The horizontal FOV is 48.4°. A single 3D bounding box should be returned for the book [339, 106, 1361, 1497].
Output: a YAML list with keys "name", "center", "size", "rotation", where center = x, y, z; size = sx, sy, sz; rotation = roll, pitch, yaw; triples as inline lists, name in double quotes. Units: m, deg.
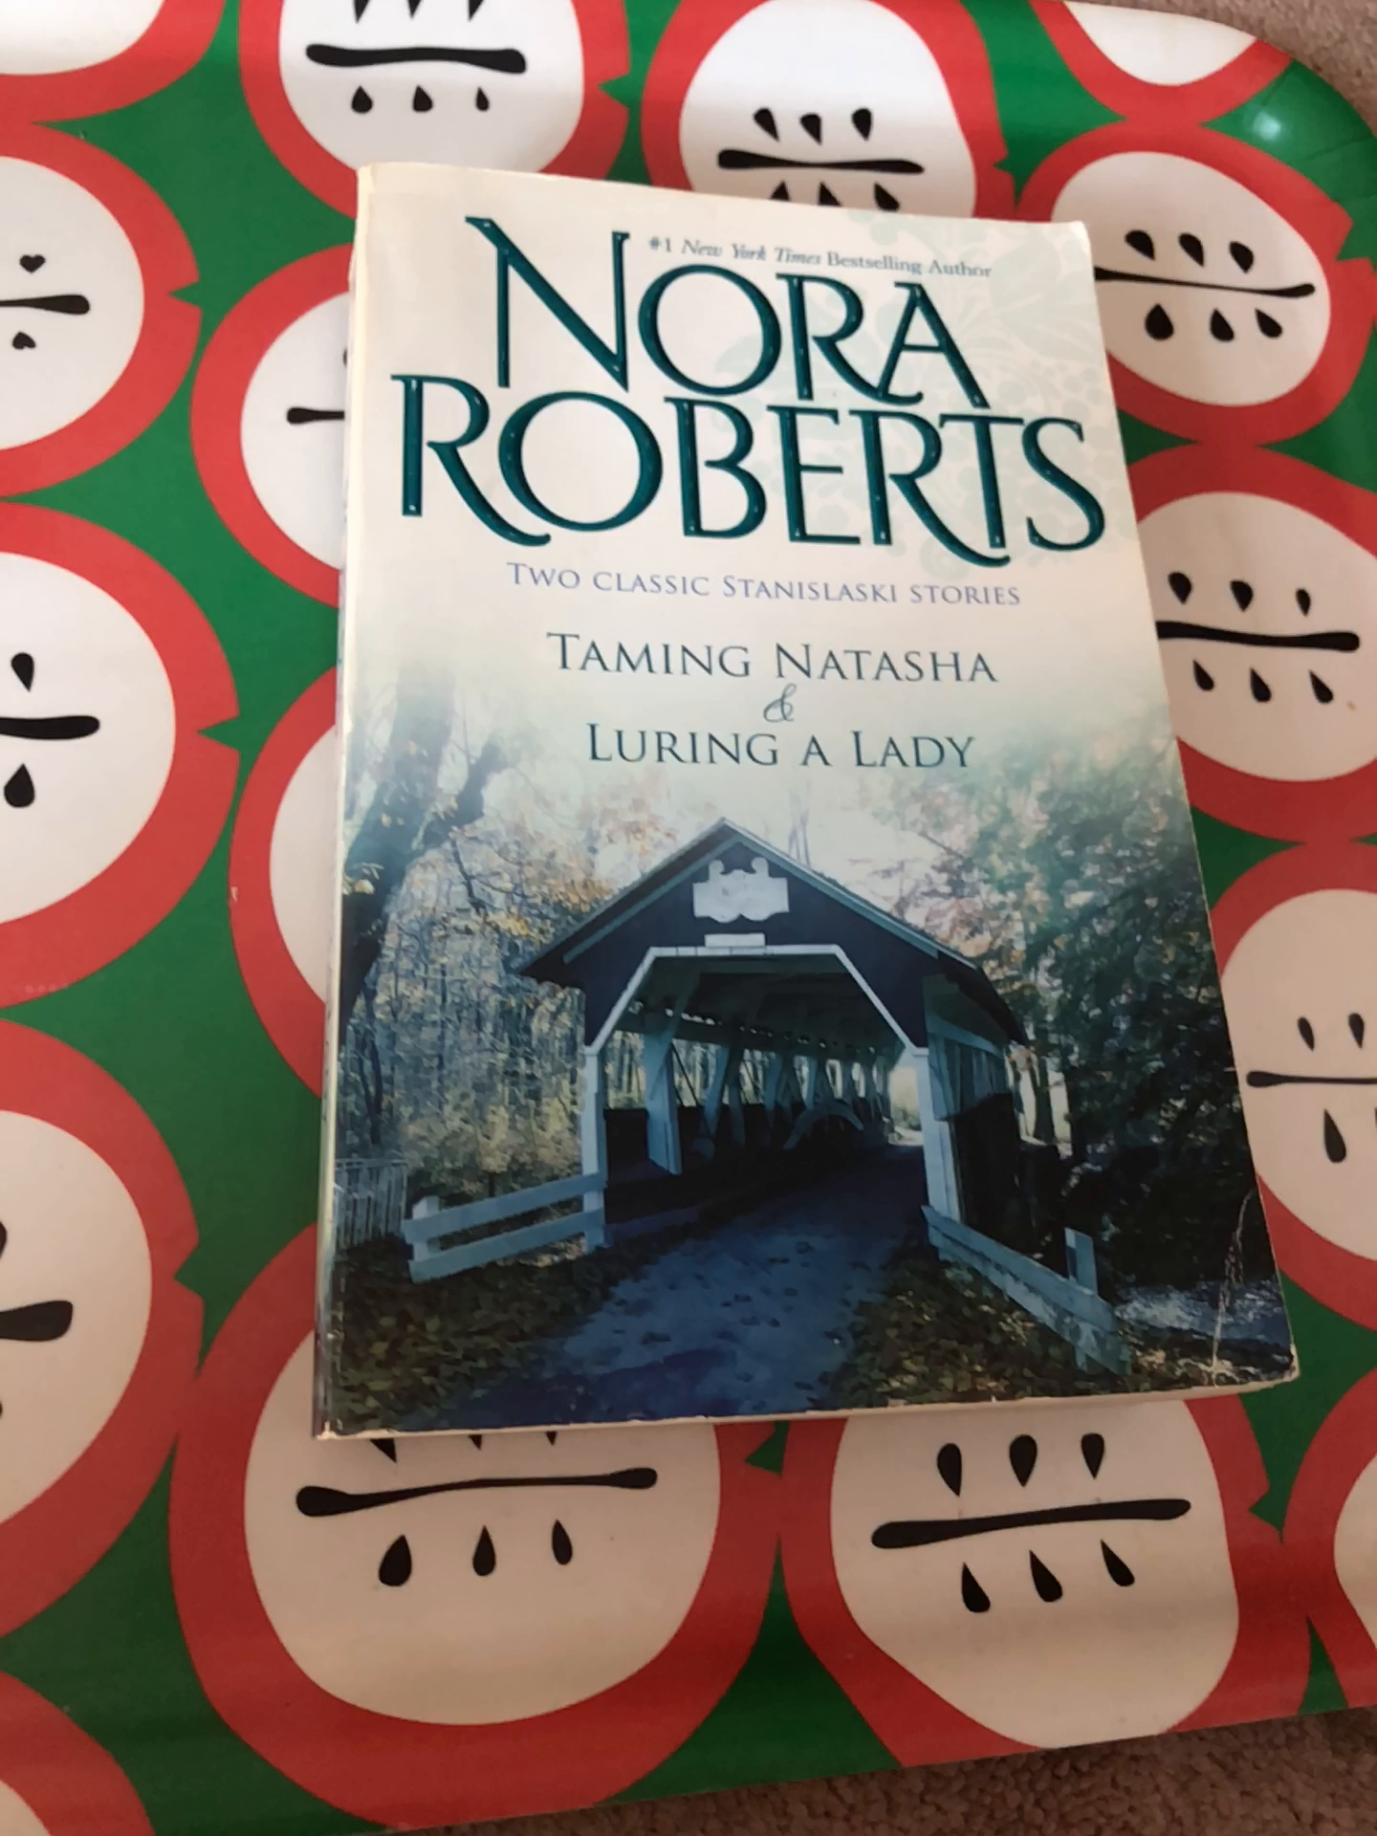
- name: "book"
  center: [0.017, -0.026, 0.256]
  size: [0.140, 0.040, 0.221]
  rotation: [1, 72, -10]
